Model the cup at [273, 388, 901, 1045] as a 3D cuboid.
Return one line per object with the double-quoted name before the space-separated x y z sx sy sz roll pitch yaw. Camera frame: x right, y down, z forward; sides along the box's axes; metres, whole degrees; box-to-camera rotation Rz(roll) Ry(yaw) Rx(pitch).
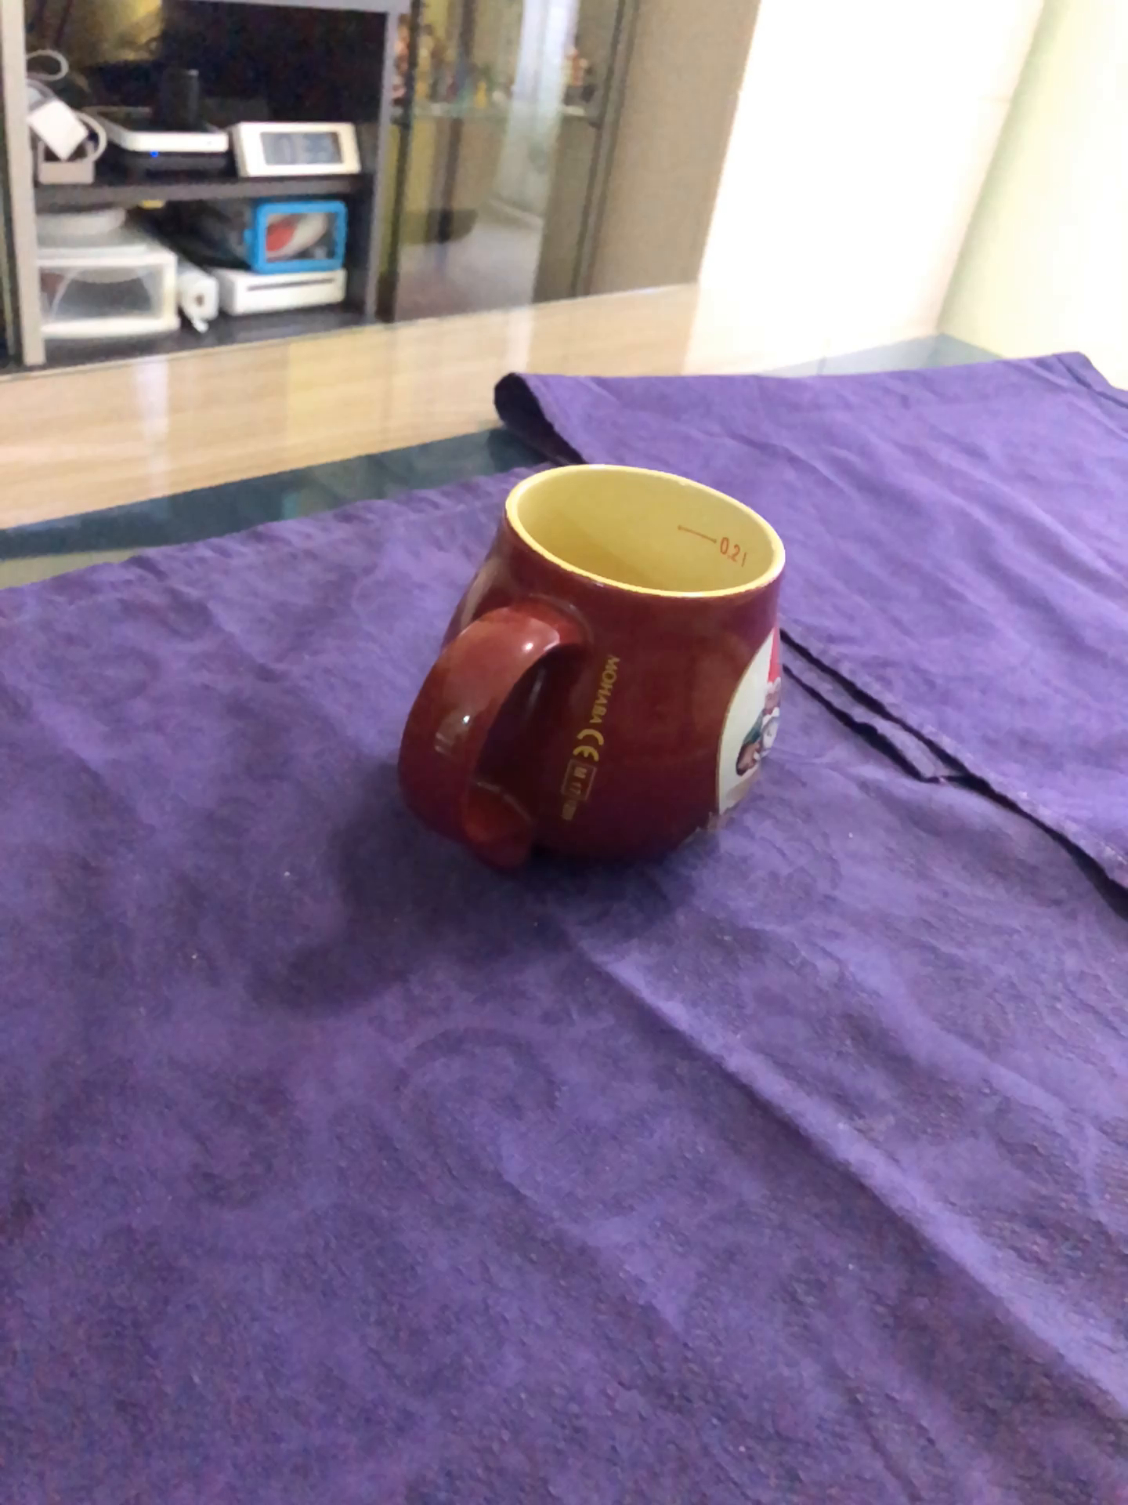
"cup" 0.006 -0.017 0.295 0.080 0.090 0.120 28 38 23
